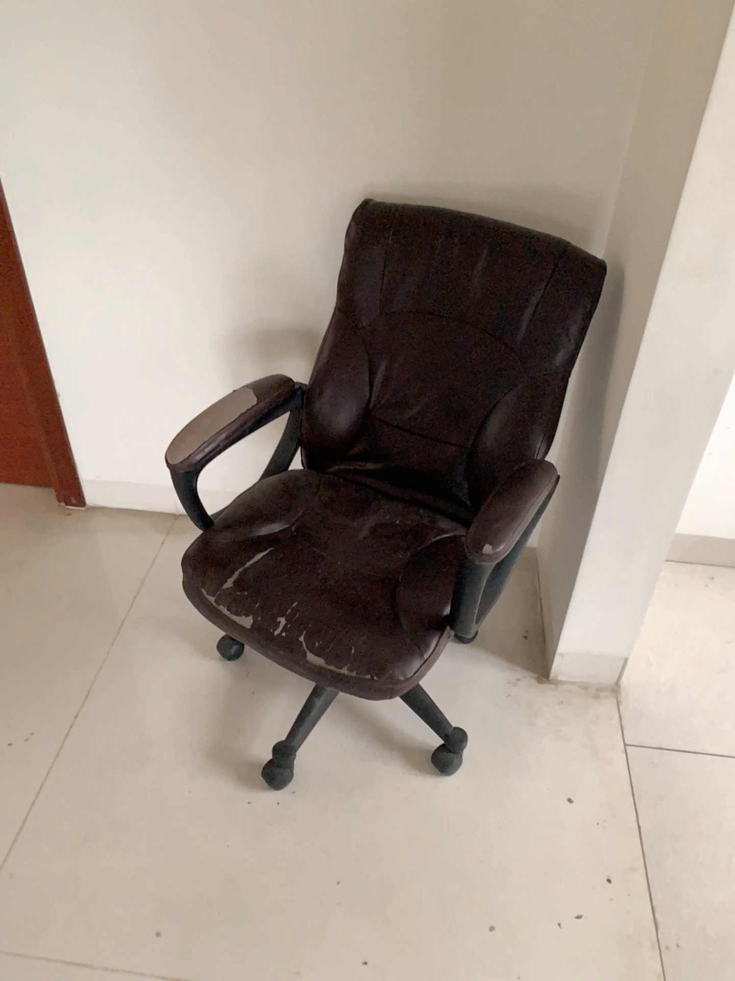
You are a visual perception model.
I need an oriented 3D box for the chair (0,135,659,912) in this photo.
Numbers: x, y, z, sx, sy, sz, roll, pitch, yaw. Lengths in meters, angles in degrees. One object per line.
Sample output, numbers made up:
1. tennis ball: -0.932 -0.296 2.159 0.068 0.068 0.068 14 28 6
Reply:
1. chair: -0.040 0.011 1.384 0.701 0.996 0.792 21 42 23
